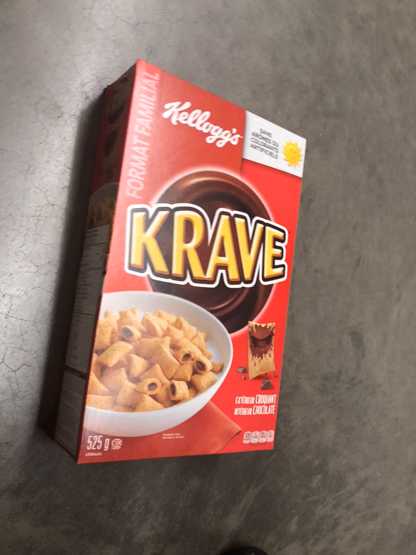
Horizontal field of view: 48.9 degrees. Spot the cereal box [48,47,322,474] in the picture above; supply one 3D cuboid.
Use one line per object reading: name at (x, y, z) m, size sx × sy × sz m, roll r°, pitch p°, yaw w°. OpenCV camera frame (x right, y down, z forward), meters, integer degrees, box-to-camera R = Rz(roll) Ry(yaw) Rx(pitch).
cereal box at (-0.008, -0.003, 0.414) m, size 0.201 × 0.070 × 0.310 m, roll 11°, pitch 84°, yaw -35°
